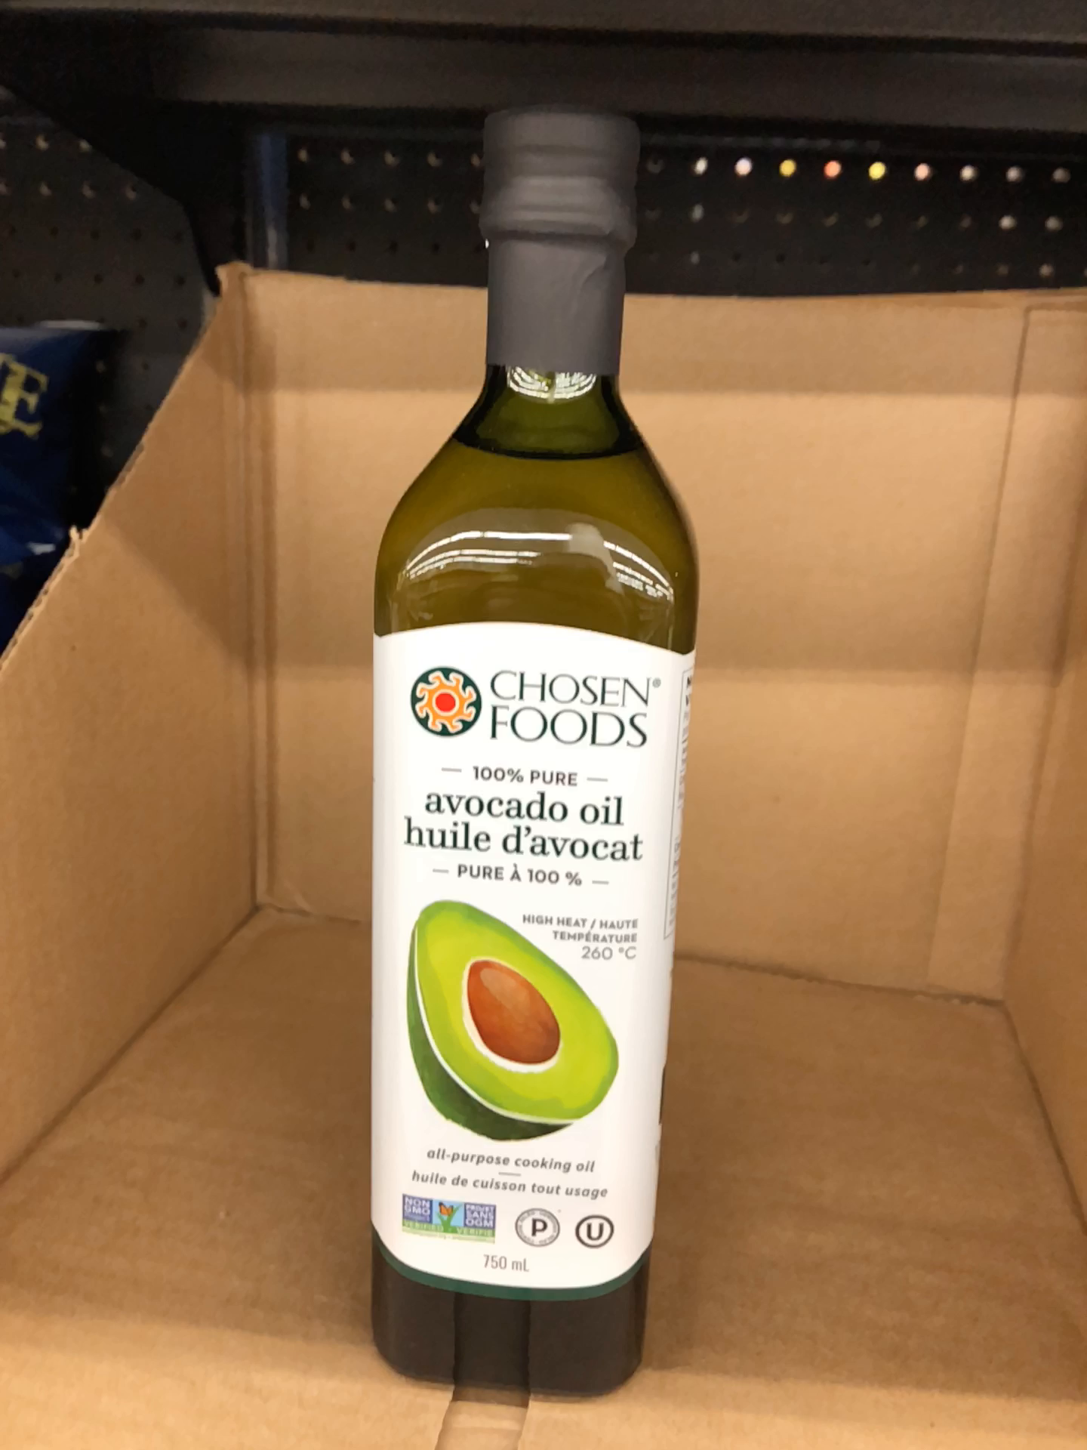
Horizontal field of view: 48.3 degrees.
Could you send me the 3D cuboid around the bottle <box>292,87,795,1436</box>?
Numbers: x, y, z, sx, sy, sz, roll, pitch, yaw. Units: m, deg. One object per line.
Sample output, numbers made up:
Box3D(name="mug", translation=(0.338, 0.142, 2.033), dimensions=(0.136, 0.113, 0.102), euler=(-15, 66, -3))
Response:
Box3D(name="bottle", translation=(-0.003, 0.022, 0.298), dimensions=(0.090, 0.308, 0.070), euler=(3, 19, 4))
